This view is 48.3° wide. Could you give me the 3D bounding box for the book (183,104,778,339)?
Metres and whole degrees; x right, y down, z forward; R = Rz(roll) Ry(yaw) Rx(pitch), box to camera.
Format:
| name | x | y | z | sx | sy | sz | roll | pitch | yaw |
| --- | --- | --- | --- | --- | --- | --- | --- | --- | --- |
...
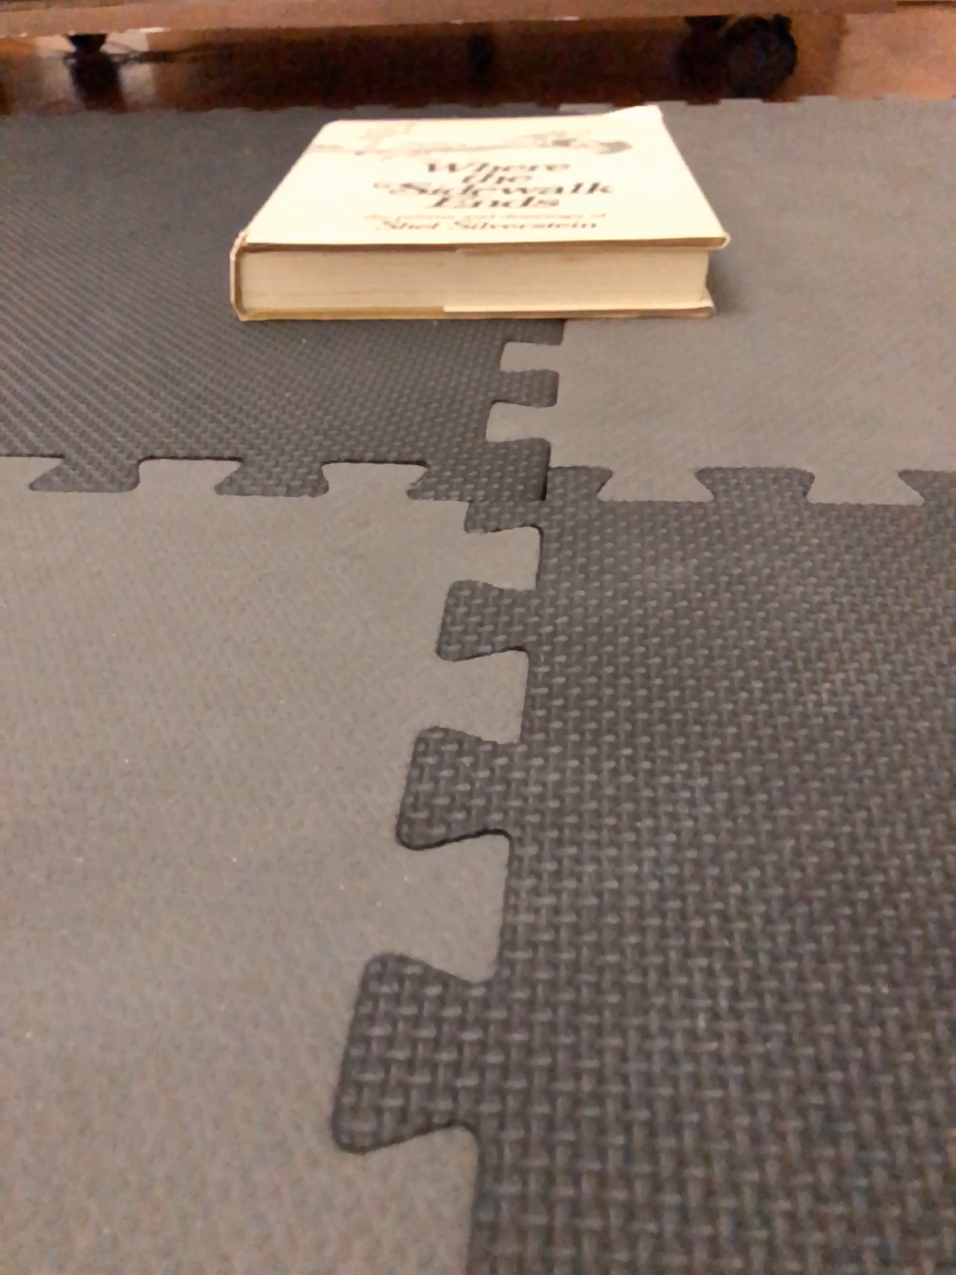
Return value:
| name | x | y | z | sx | sy | sz | roll | pitch | yaw |
| --- | --- | --- | --- | --- | --- | --- | --- | --- | --- |
| book | 0.007 | -0.199 | 0.482 | 0.200 | 0.030 | 0.282 | 0 | 35 | 3 |
